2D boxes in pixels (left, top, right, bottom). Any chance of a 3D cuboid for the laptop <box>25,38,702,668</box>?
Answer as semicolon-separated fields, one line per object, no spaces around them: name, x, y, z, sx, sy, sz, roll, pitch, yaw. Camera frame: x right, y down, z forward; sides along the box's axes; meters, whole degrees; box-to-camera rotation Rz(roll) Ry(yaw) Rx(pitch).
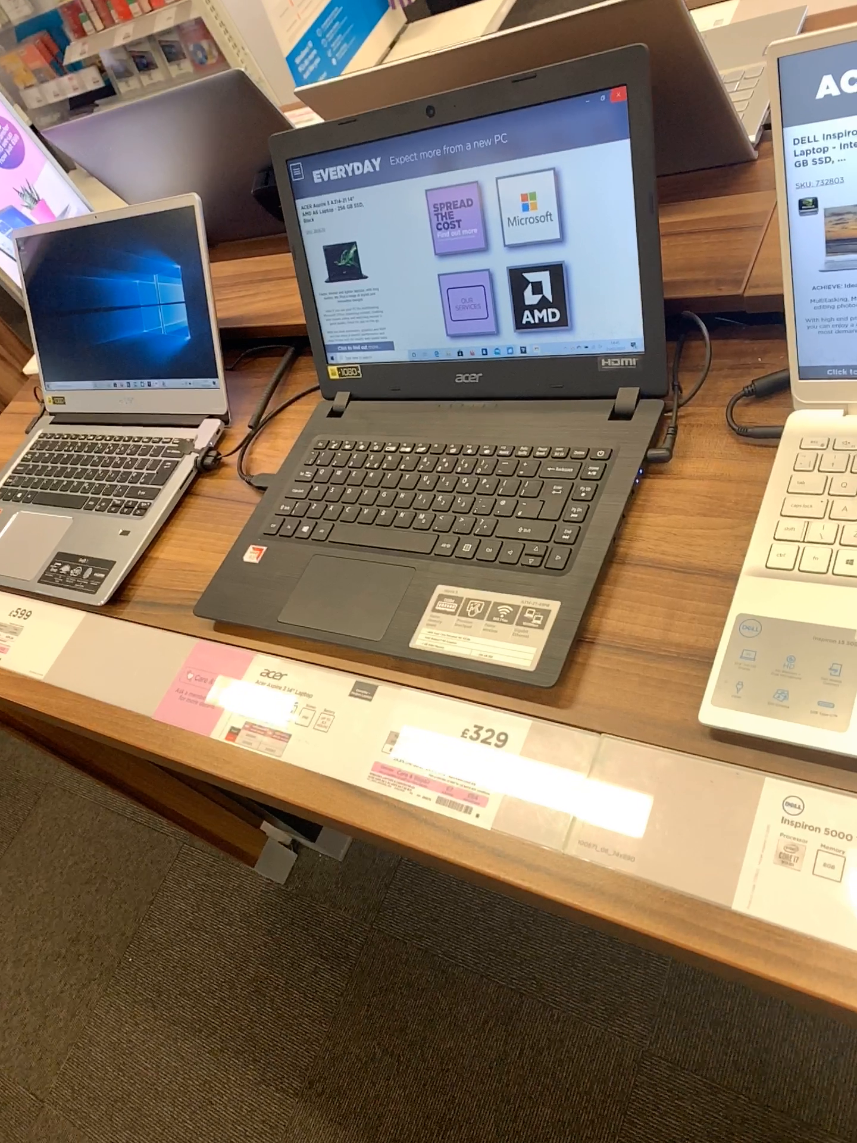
laptop;-0.027;-0.158;0.640;0.326;0.193;0.356;7;59;35
